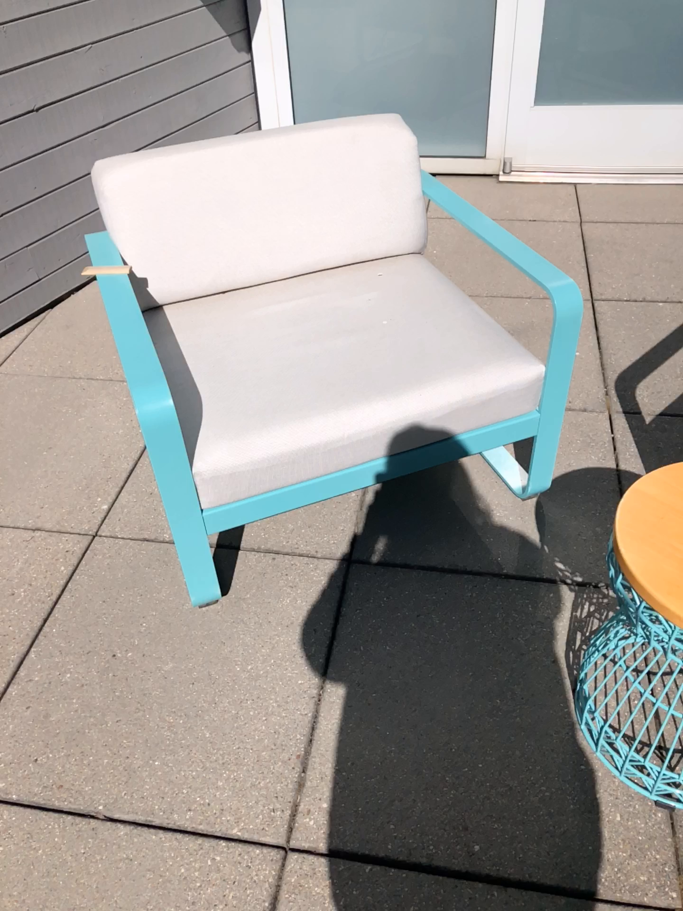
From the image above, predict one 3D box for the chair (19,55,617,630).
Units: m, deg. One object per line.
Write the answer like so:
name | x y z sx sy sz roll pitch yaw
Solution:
chair | -0.101 -0.327 1.695 0.900 0.766 0.874 -17 41 -15
